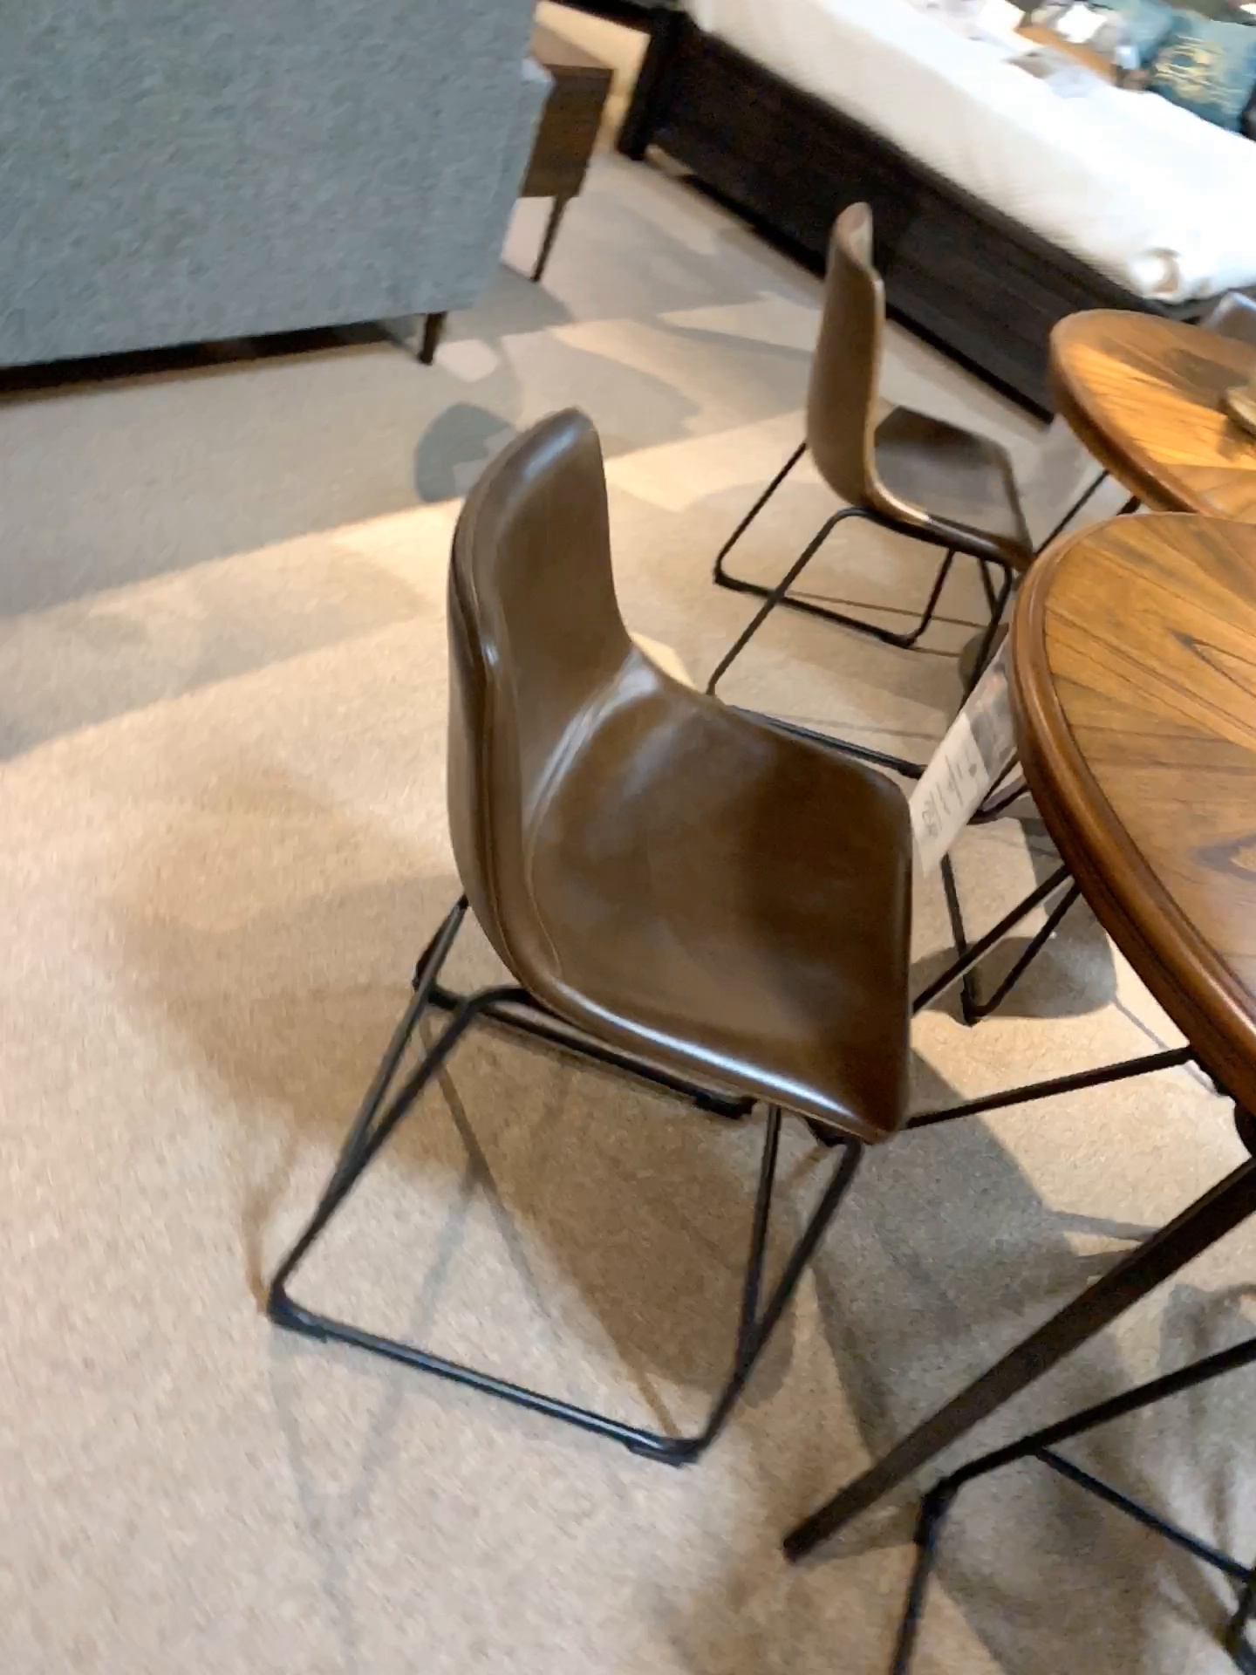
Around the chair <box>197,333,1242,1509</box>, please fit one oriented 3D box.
[{"bbox_3d":[0.034,0.103,1.249,0.580,0.806,0.603,22,40,-3],"label":"chair"}]
